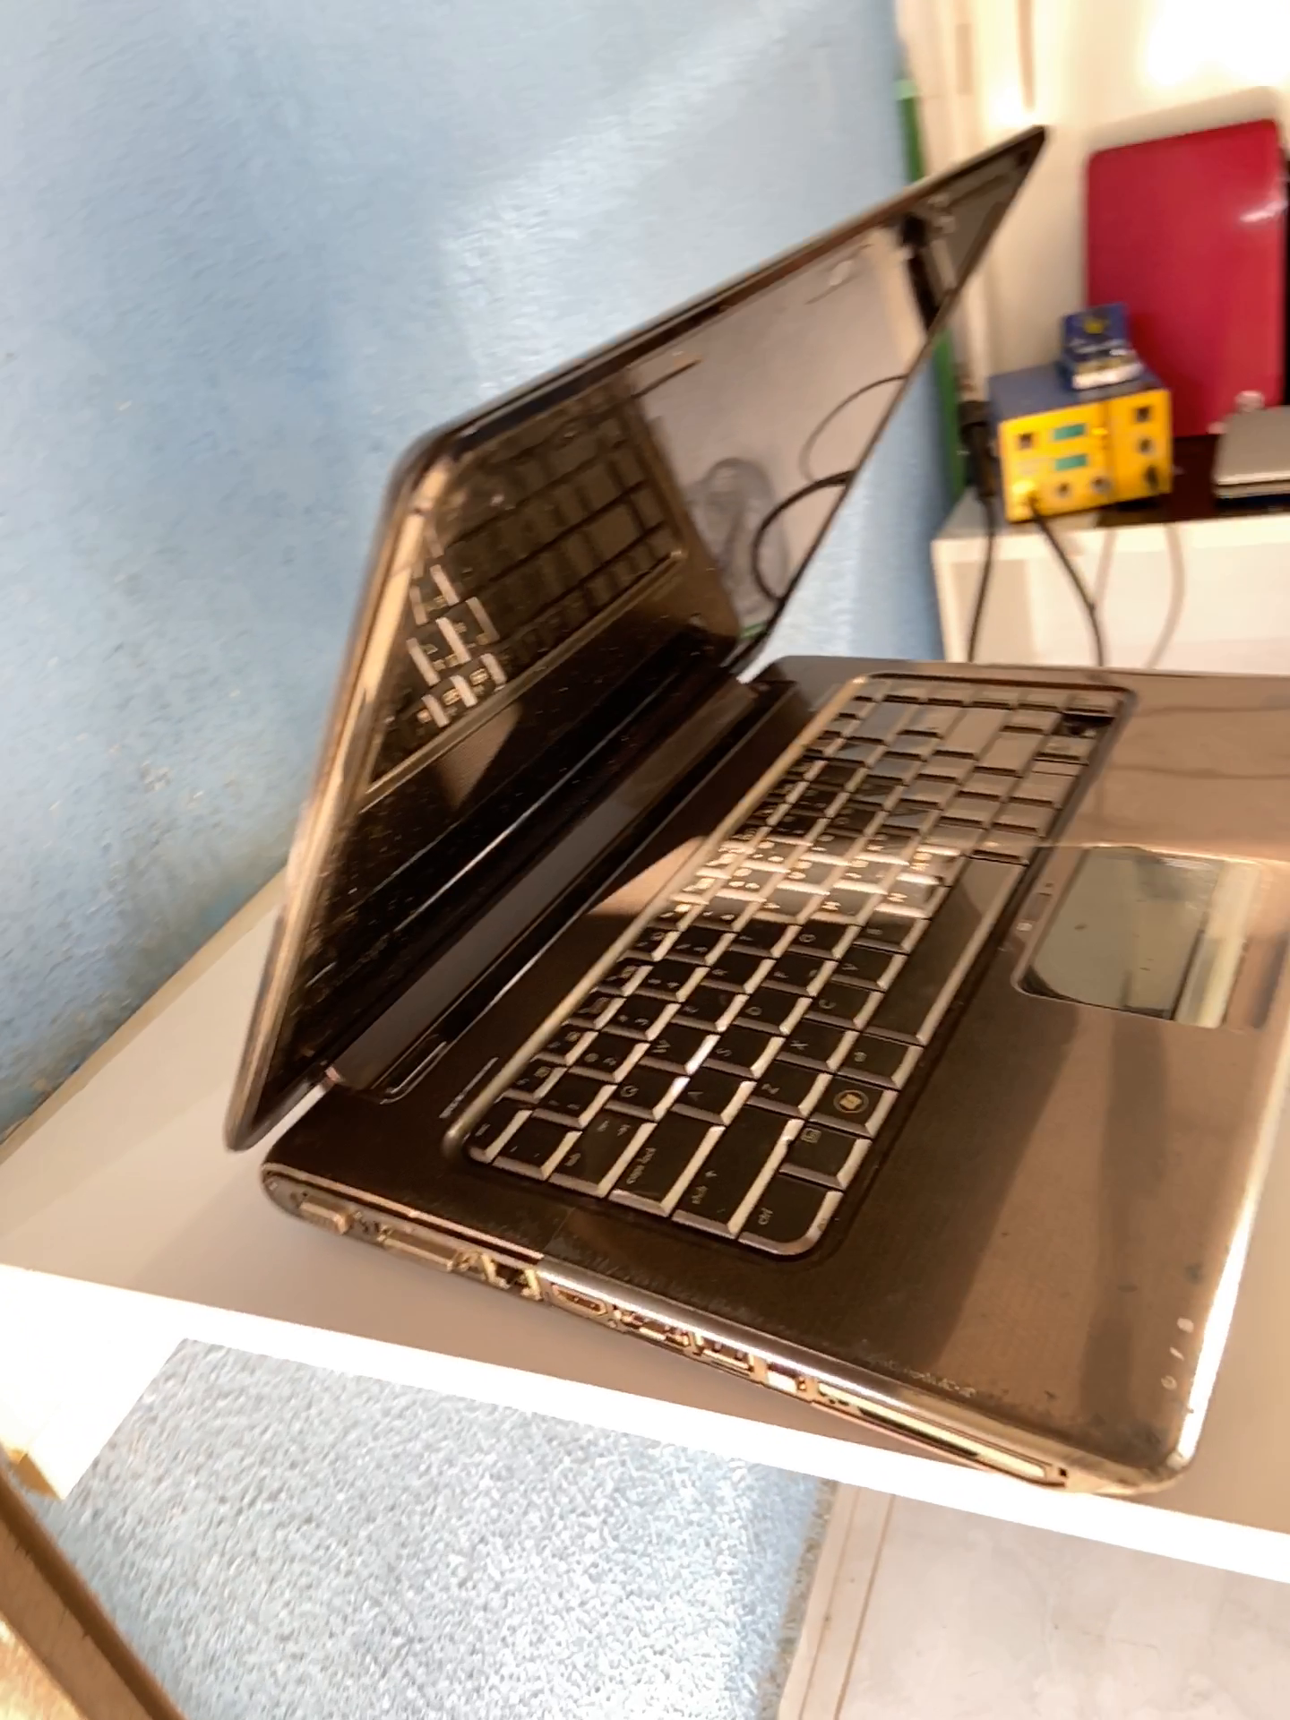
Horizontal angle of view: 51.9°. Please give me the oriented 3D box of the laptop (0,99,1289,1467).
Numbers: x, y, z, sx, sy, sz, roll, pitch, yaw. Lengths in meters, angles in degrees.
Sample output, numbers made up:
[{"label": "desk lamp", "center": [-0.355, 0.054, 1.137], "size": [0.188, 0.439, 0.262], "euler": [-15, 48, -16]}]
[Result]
[{"label": "laptop", "center": [0.058, -0.071, 0.389], "size": [0.245, 0.190, 0.345], "euler": [6, 35, 33]}]
